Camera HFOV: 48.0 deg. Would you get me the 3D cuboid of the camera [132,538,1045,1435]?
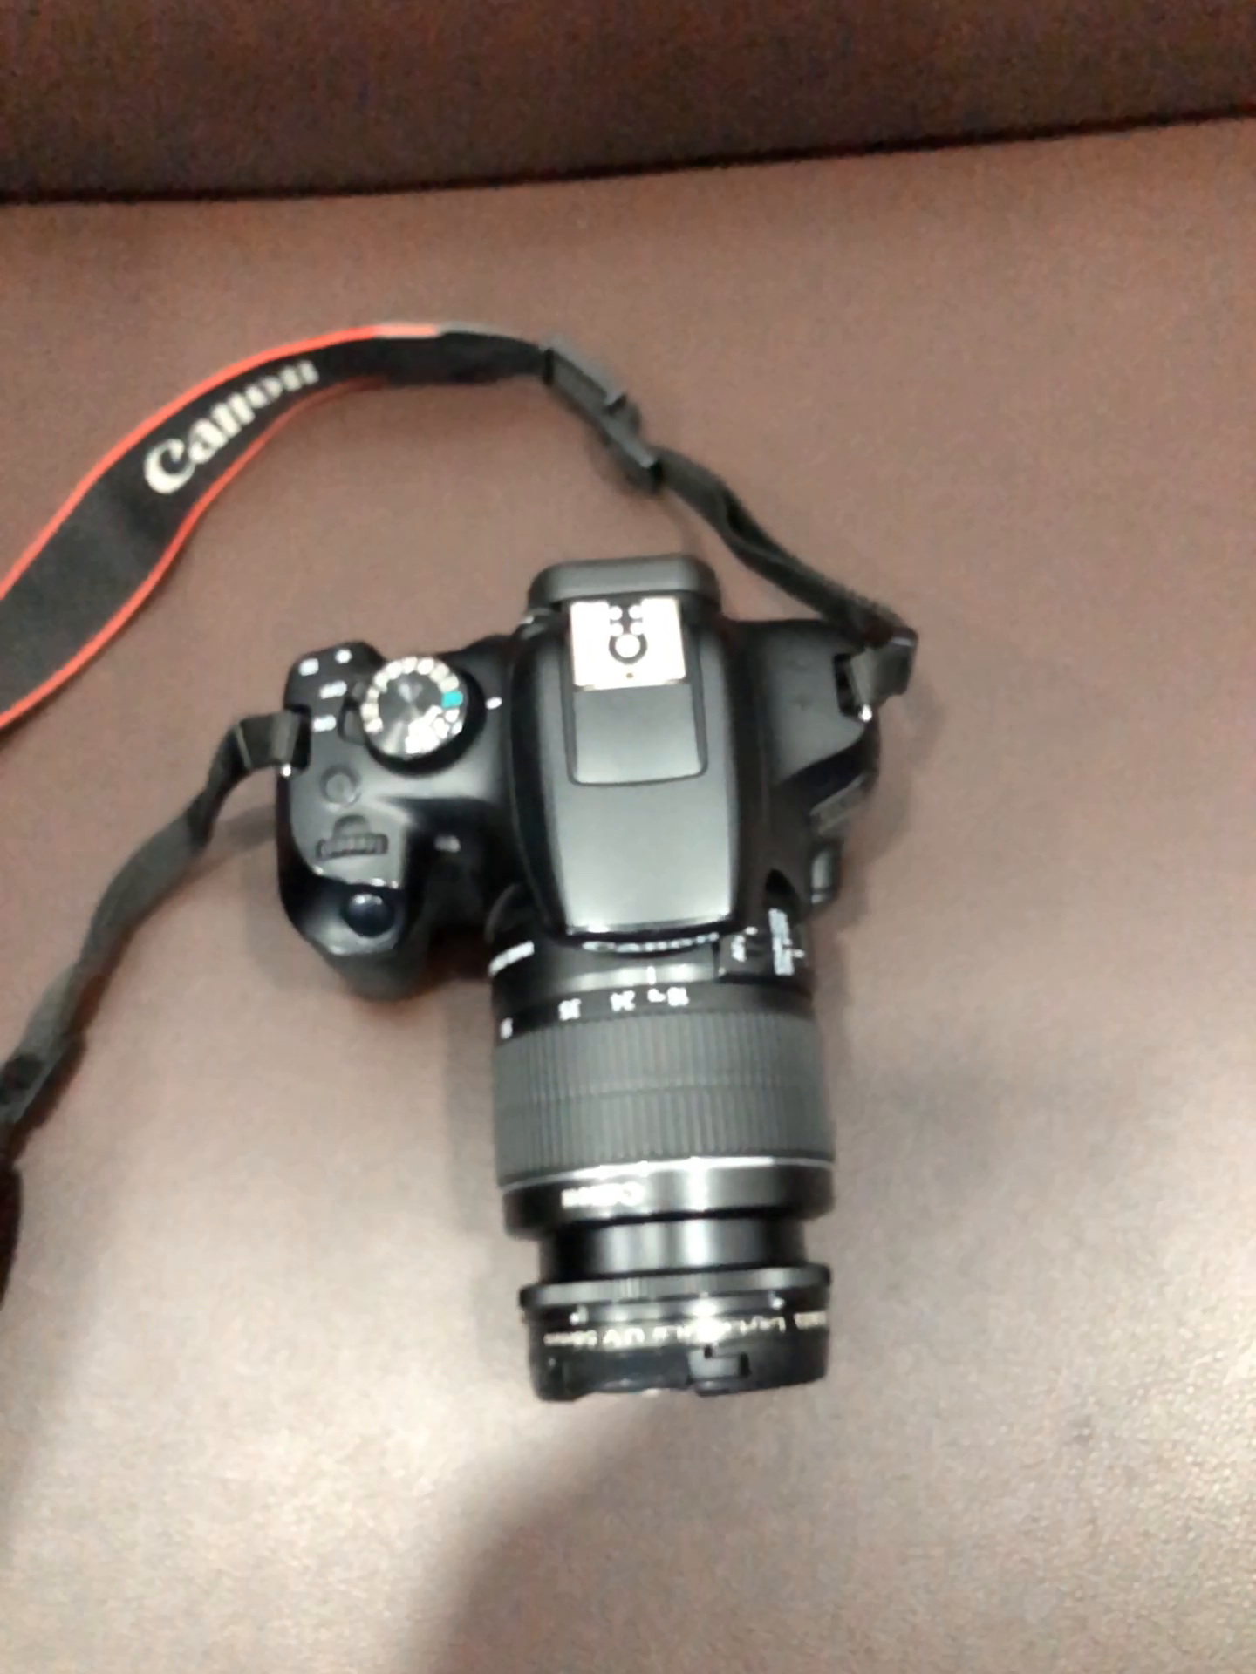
[{"bbox_3d":[-0.007,0.032,0.267,0.130,0.090,0.140,-3,69,1],"label":"camera"}]
